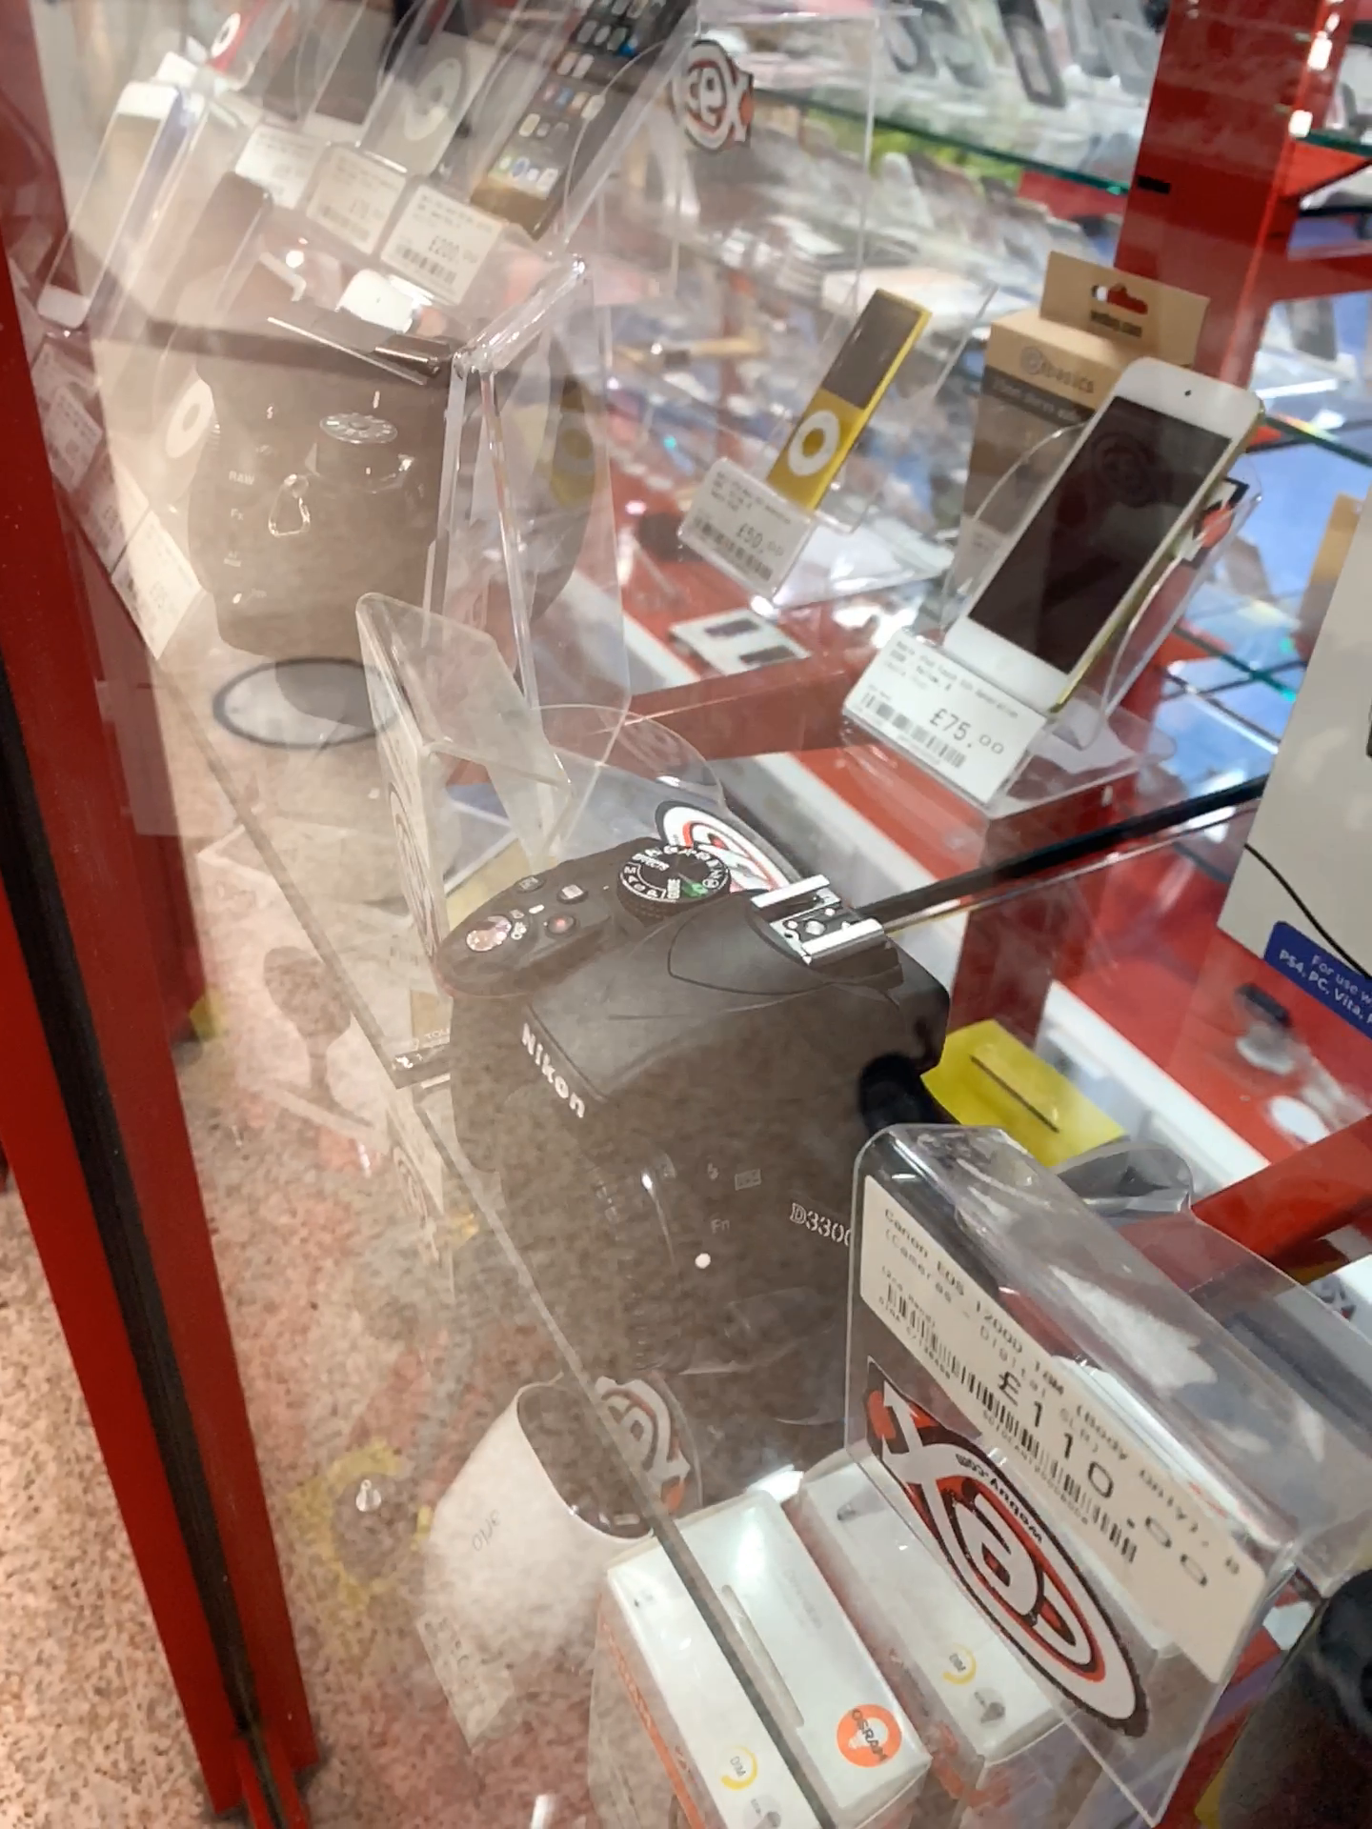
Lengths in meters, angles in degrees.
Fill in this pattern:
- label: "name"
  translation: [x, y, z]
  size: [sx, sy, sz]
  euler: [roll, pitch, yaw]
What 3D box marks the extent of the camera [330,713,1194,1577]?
- label: "camera"
  translation: [0.008, 0.034, 0.295]
  size: [0.110, 0.079, 0.131]
  euler: [-20, 43, -29]
